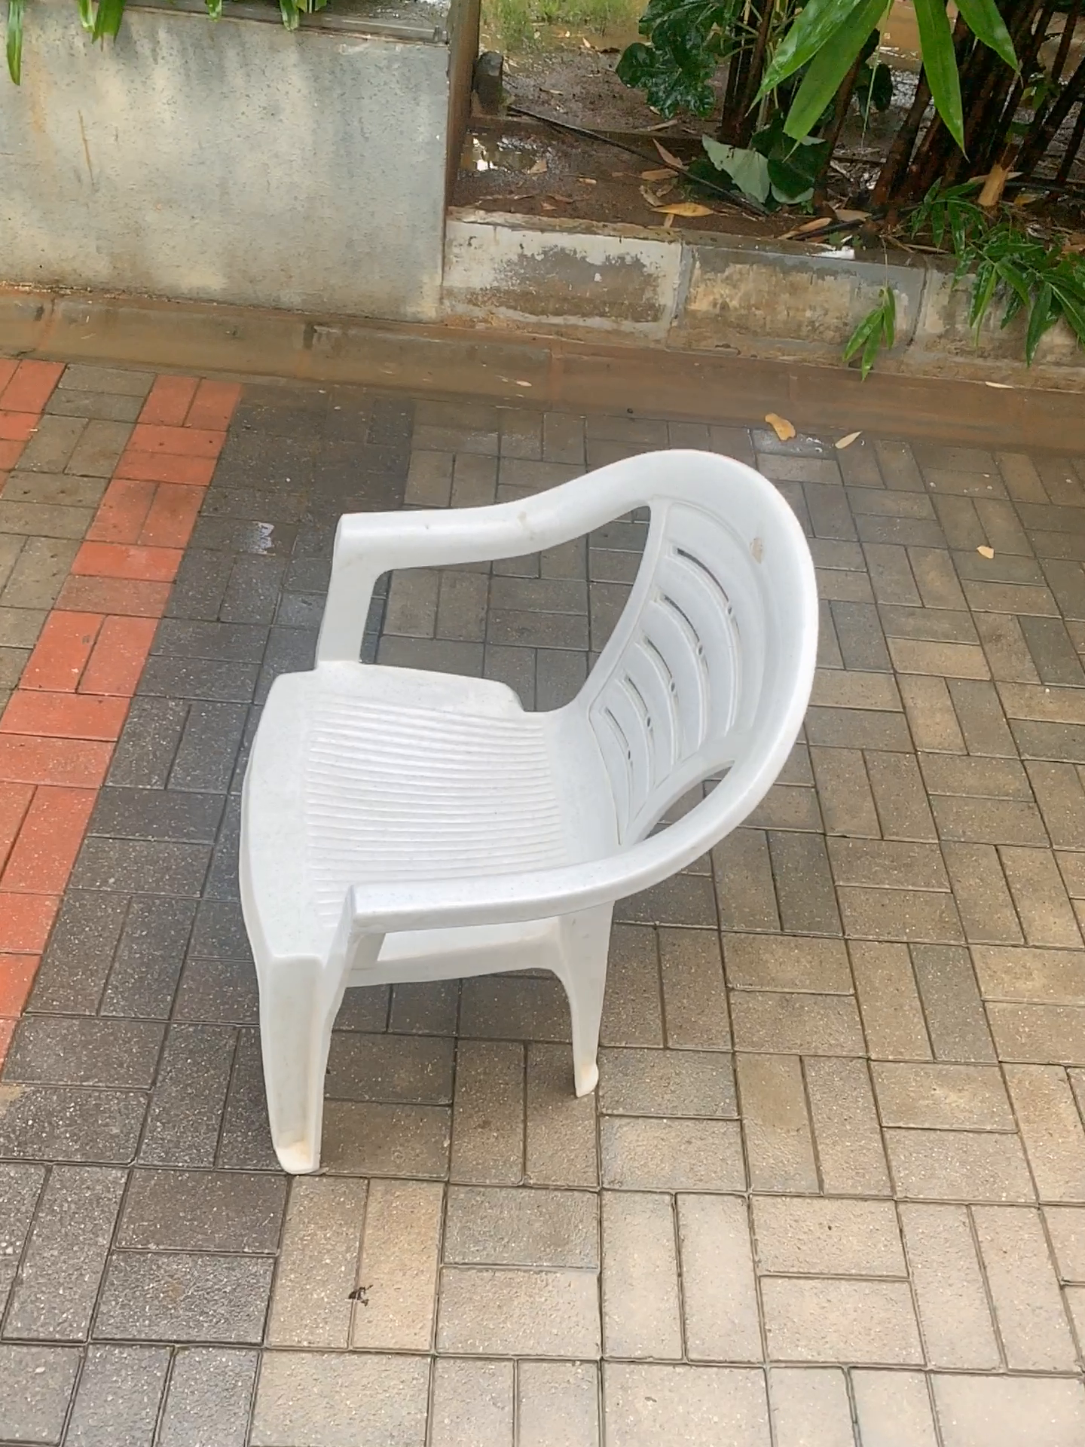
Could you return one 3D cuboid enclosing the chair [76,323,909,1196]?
[{"bbox_3d":[-0.098,0.068,1.217,0.570,0.777,0.562,-3,50,-10],"label":"chair"}]
